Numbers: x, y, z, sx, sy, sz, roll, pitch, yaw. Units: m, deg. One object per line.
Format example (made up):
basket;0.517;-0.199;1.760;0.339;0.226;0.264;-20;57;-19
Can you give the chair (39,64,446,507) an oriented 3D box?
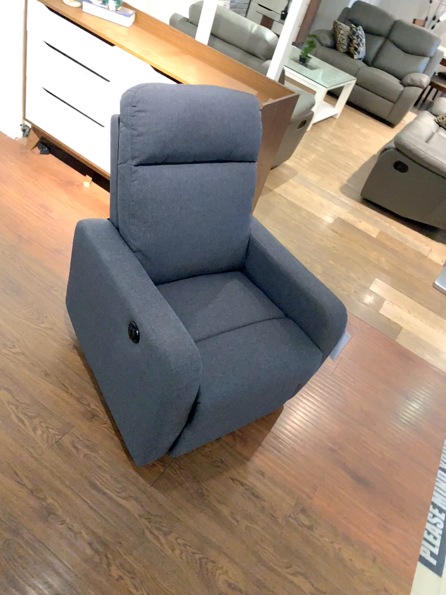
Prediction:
chair;-0.006;-0.087;1.589;0.932;0.966;0.881;-14;52;-36
